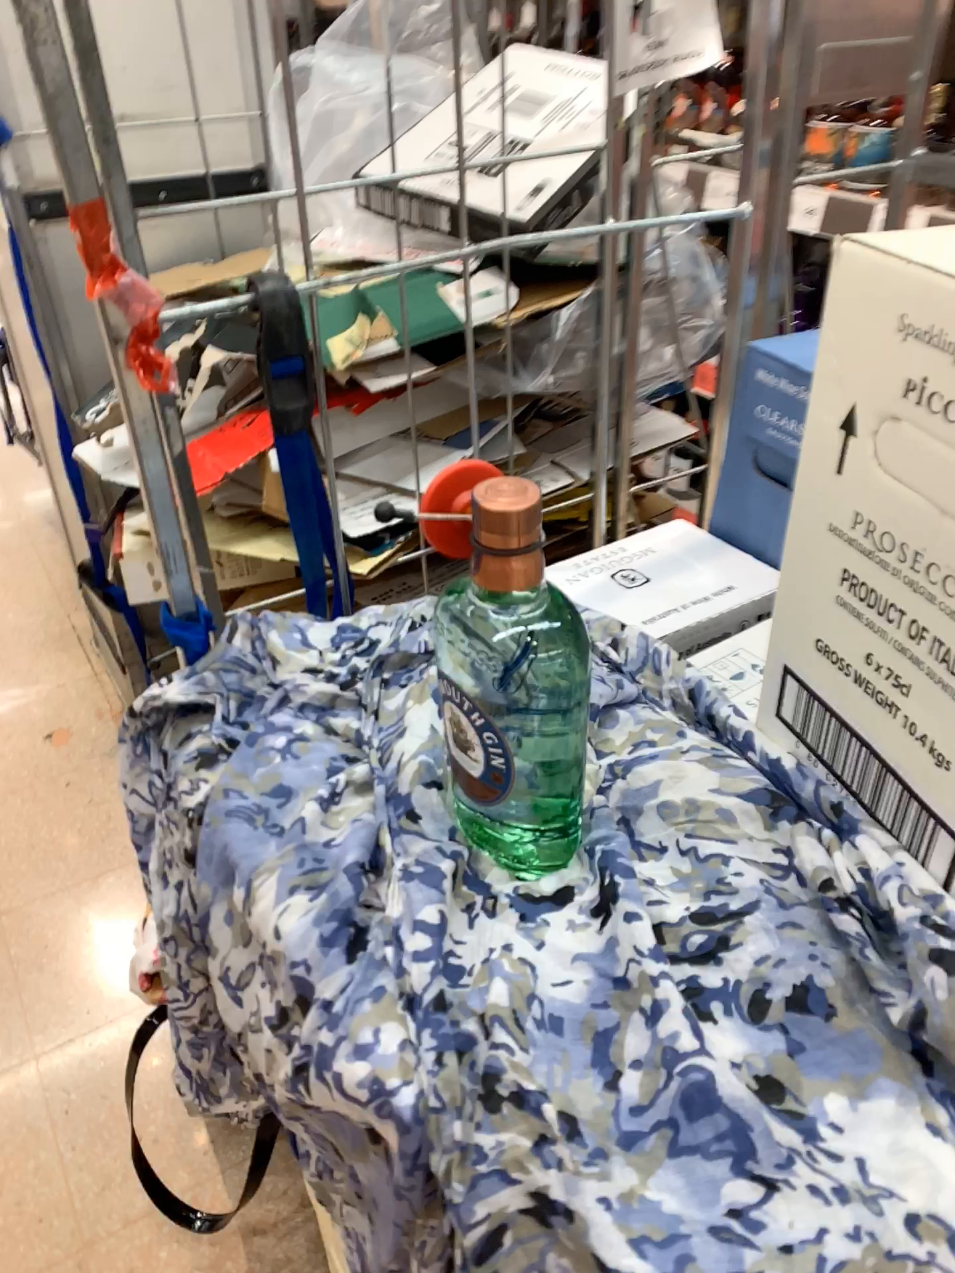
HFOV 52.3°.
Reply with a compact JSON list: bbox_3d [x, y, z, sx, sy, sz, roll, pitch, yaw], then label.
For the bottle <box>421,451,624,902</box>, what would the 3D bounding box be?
[{"bbox_3d":[0.021,0.026,0.541,0.058,0.228,0.095,-19,37,-25],"label":"bottle"}]
